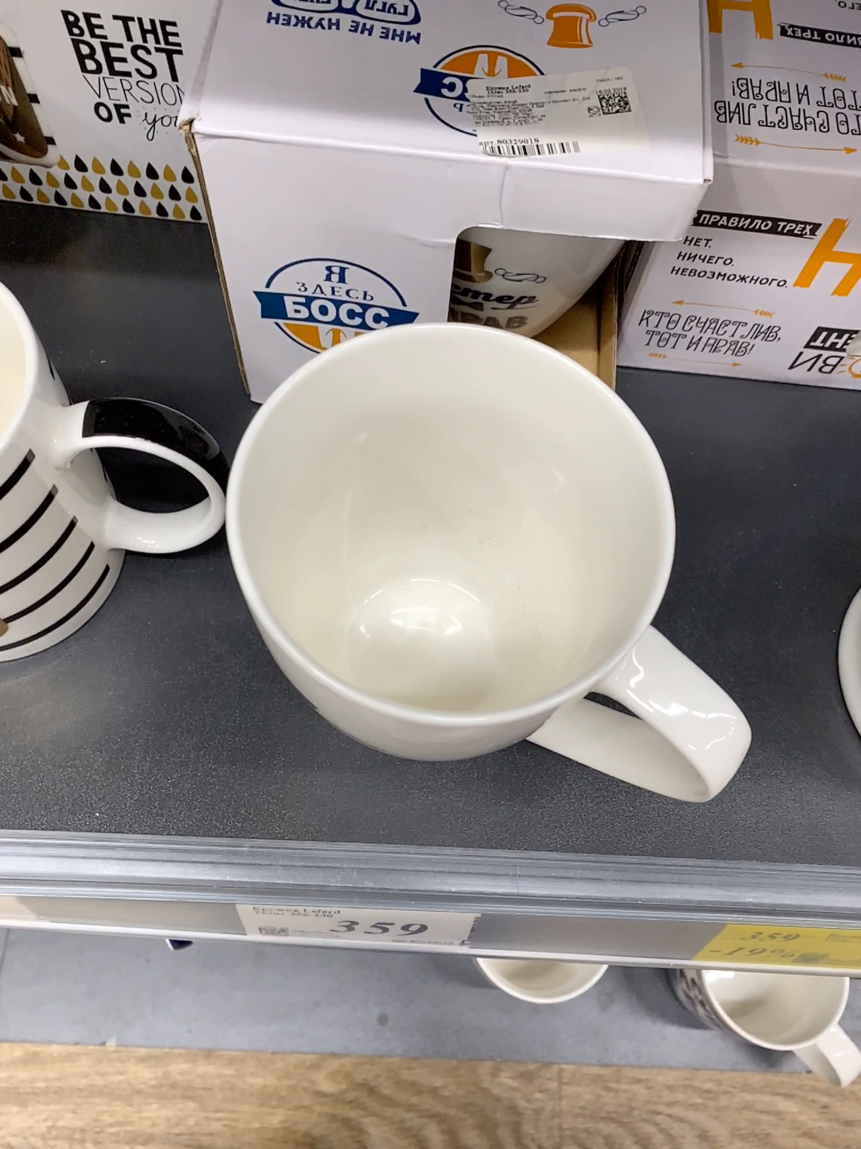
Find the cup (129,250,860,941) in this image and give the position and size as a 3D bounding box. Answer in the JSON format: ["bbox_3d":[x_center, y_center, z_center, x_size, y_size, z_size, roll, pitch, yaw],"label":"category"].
[{"bbox_3d":[0.016,0.011,0.229,0.131,0.093,0.093,34,69,11],"label":"cup"}]
